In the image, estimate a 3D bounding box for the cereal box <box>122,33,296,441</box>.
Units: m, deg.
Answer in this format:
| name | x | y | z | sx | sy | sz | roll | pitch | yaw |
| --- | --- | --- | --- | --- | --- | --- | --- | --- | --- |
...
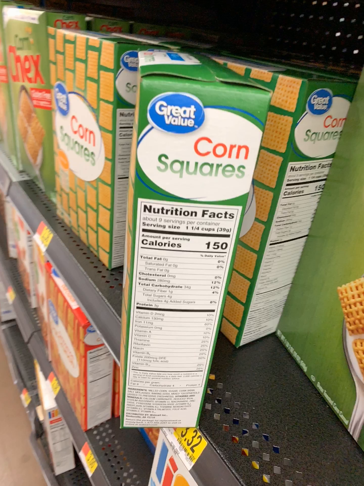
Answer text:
| name | x | y | z | sx | sy | sz | roll | pitch | yaw |
| --- | --- | --- | --- | --- | --- | --- | --- | --- | --- |
| cereal box | -0.009 | -0.010 | 0.329 | 0.070 | 0.289 | 0.201 | 3 | 31 | -9 |
